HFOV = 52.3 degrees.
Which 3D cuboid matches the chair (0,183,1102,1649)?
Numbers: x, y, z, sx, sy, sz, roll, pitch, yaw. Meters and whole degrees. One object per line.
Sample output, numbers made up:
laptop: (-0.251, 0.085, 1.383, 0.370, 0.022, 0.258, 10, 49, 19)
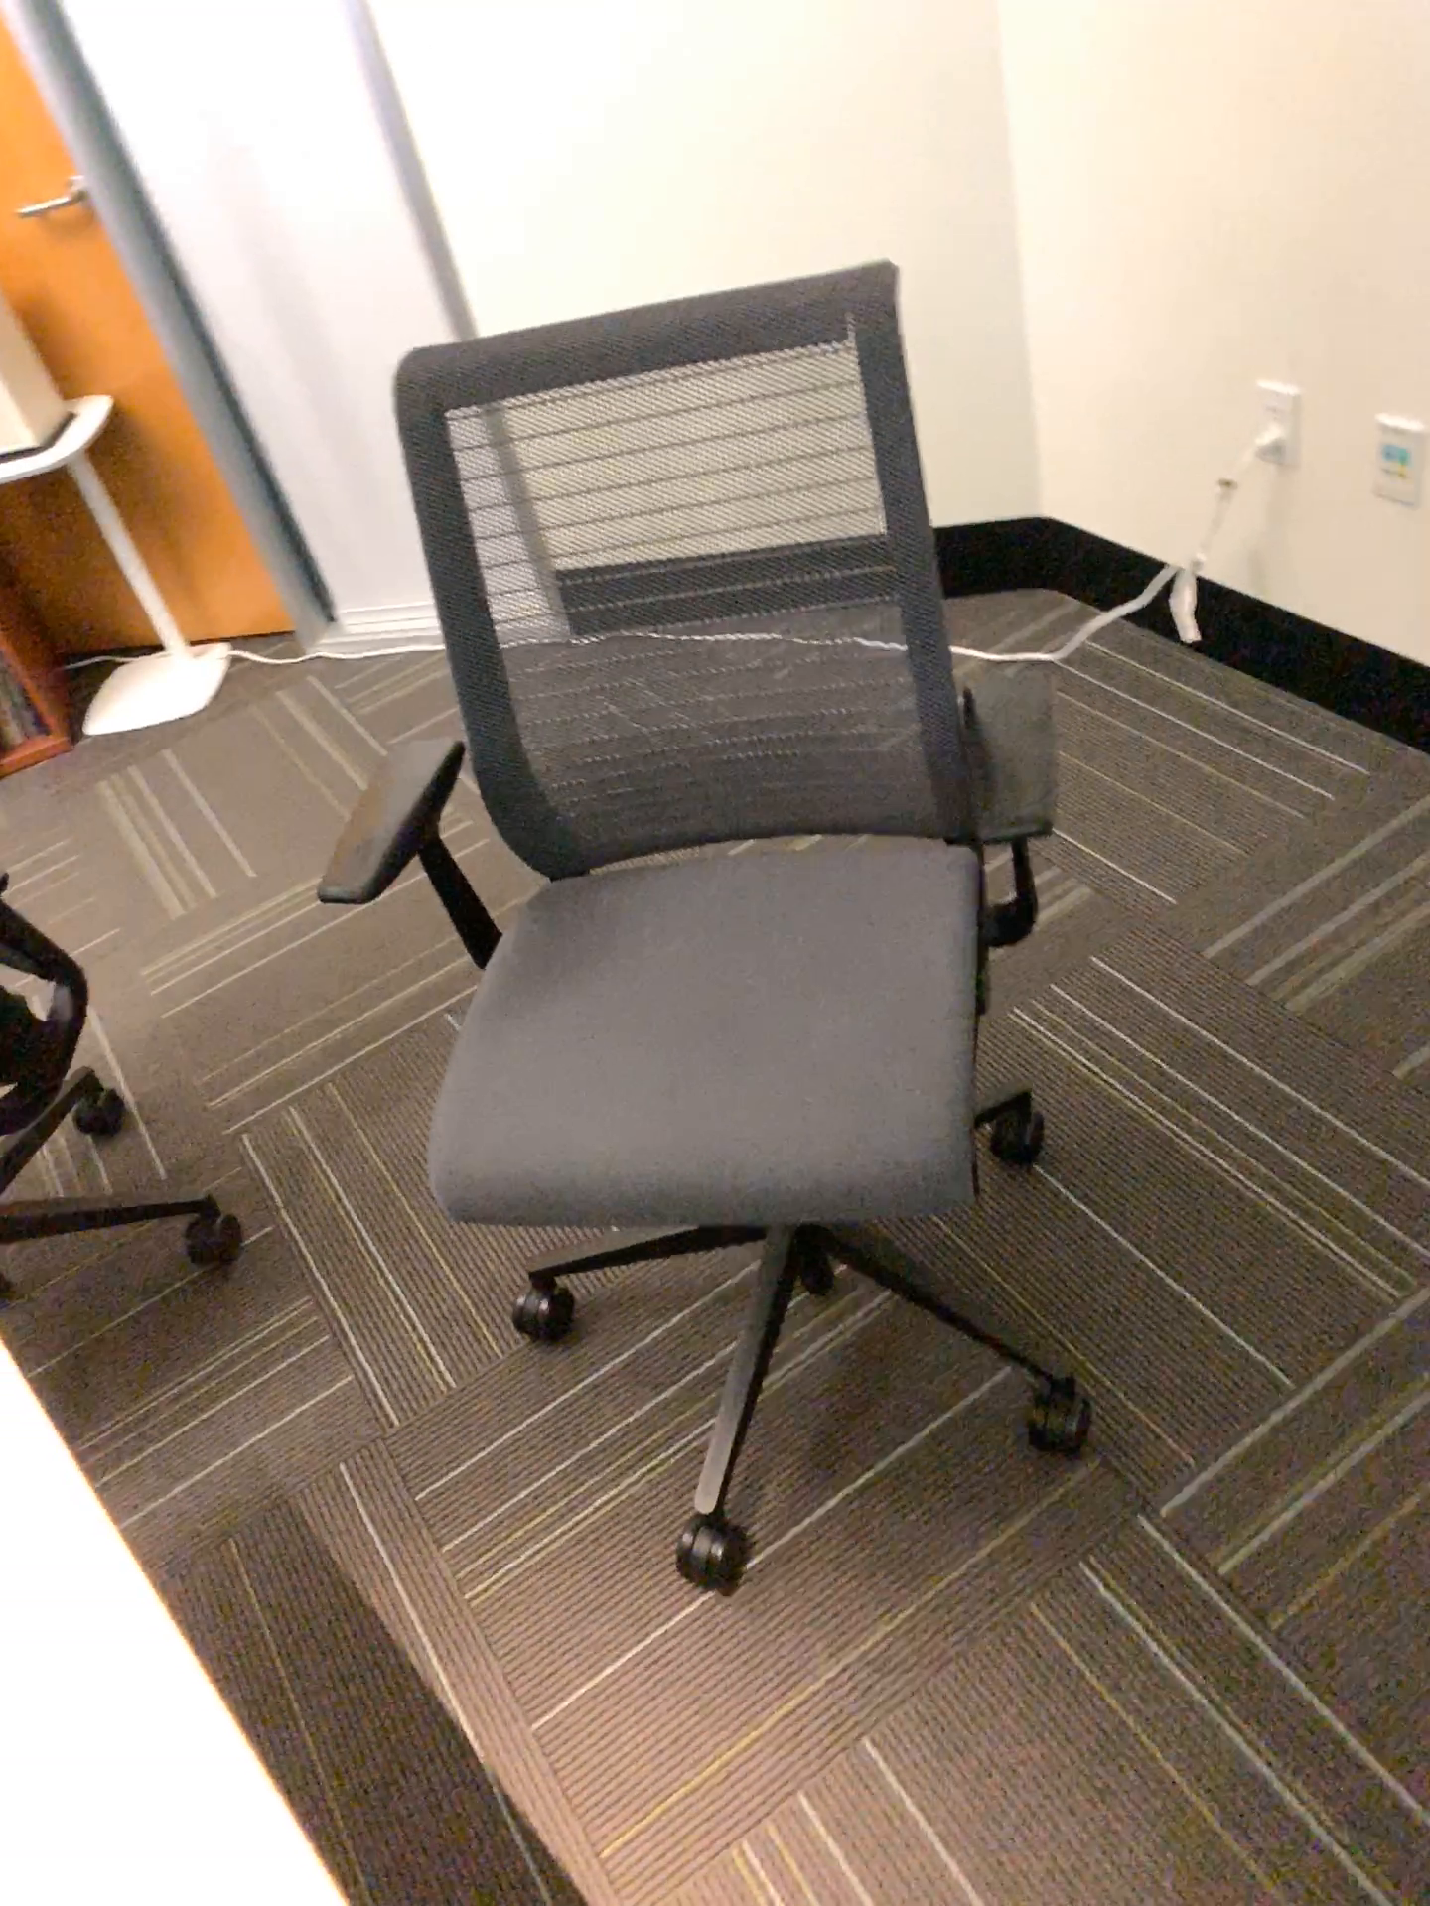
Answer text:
chair: (-0.099, 0.044, 1.437, 0.791, 1.113, 0.804, -7, 42, 12)
